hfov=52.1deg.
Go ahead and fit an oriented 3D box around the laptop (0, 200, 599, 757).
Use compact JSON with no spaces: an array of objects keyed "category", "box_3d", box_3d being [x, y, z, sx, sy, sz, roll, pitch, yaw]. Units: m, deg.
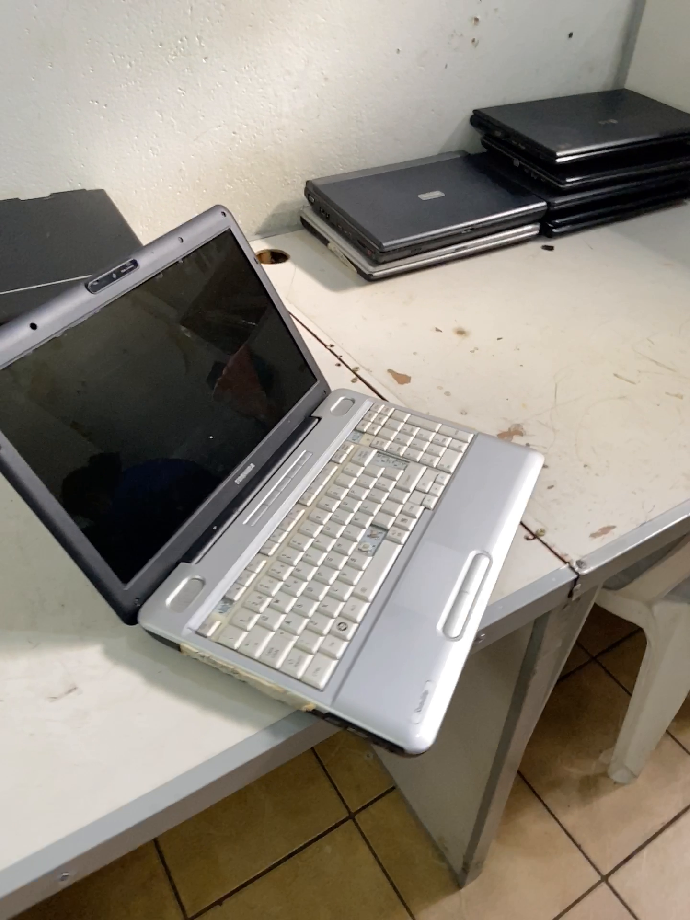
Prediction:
[{"category":"laptop","box_3d":[-0.033,-0.034,0.628,0.399,0.190,0.373,20,43,18]}]
